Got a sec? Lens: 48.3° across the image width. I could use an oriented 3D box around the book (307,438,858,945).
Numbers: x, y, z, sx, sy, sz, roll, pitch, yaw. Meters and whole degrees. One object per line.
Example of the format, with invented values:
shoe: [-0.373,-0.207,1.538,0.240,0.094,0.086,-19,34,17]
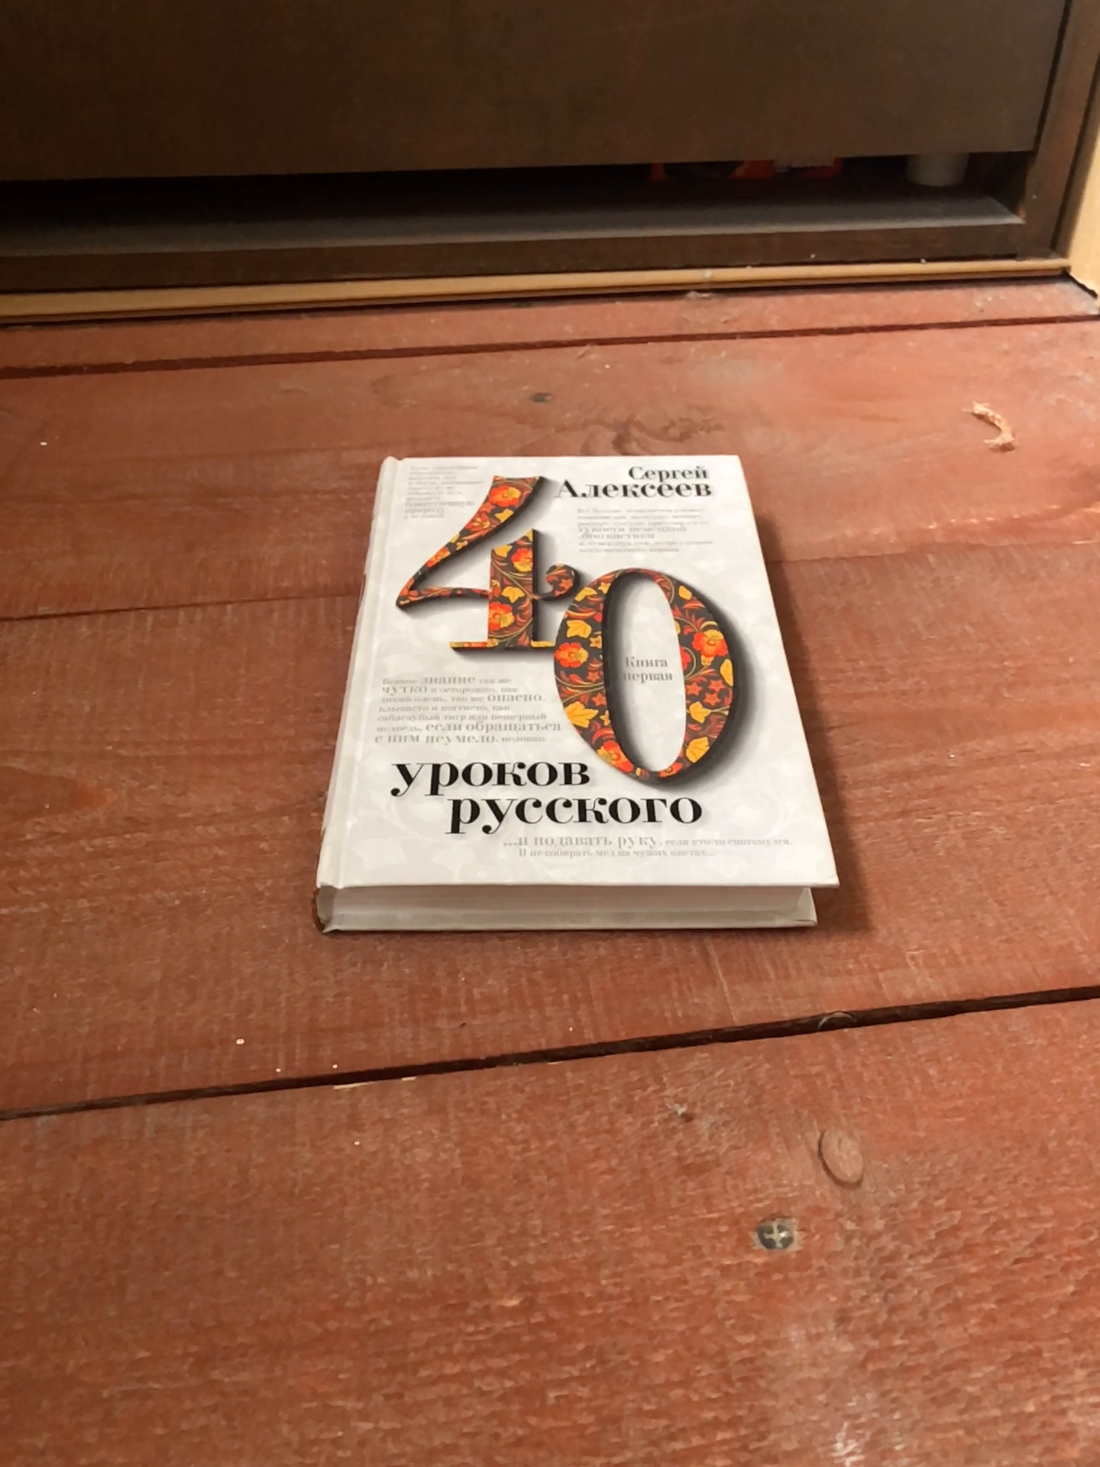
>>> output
book: [0.006,-0.026,0.382,0.135,0.030,0.201,0,44,-1]
